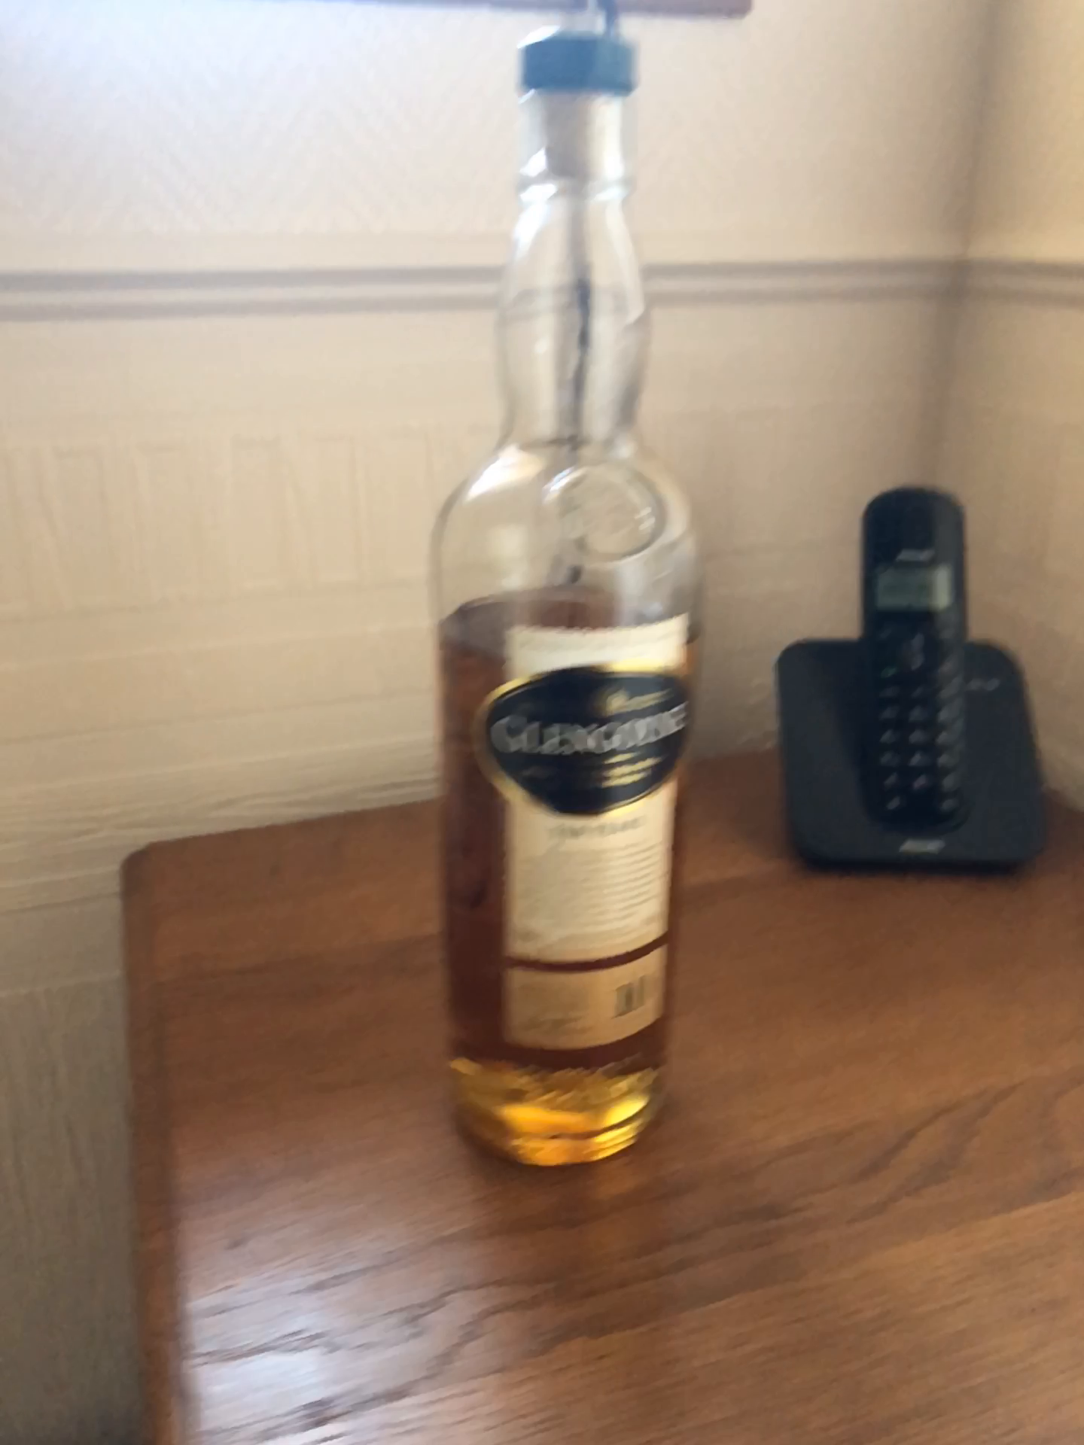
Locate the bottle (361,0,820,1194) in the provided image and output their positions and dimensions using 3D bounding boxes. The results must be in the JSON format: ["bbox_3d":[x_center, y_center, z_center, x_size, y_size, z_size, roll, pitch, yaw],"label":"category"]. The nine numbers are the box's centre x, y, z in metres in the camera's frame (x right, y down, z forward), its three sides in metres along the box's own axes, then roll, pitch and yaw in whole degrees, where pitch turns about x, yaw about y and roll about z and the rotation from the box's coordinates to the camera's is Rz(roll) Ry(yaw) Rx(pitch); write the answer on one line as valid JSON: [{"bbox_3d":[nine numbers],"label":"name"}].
[{"bbox_3d":[0.008,-0.025,0.348,0.090,0.318,0.080,-6,23,-14],"label":"bottle"}]
